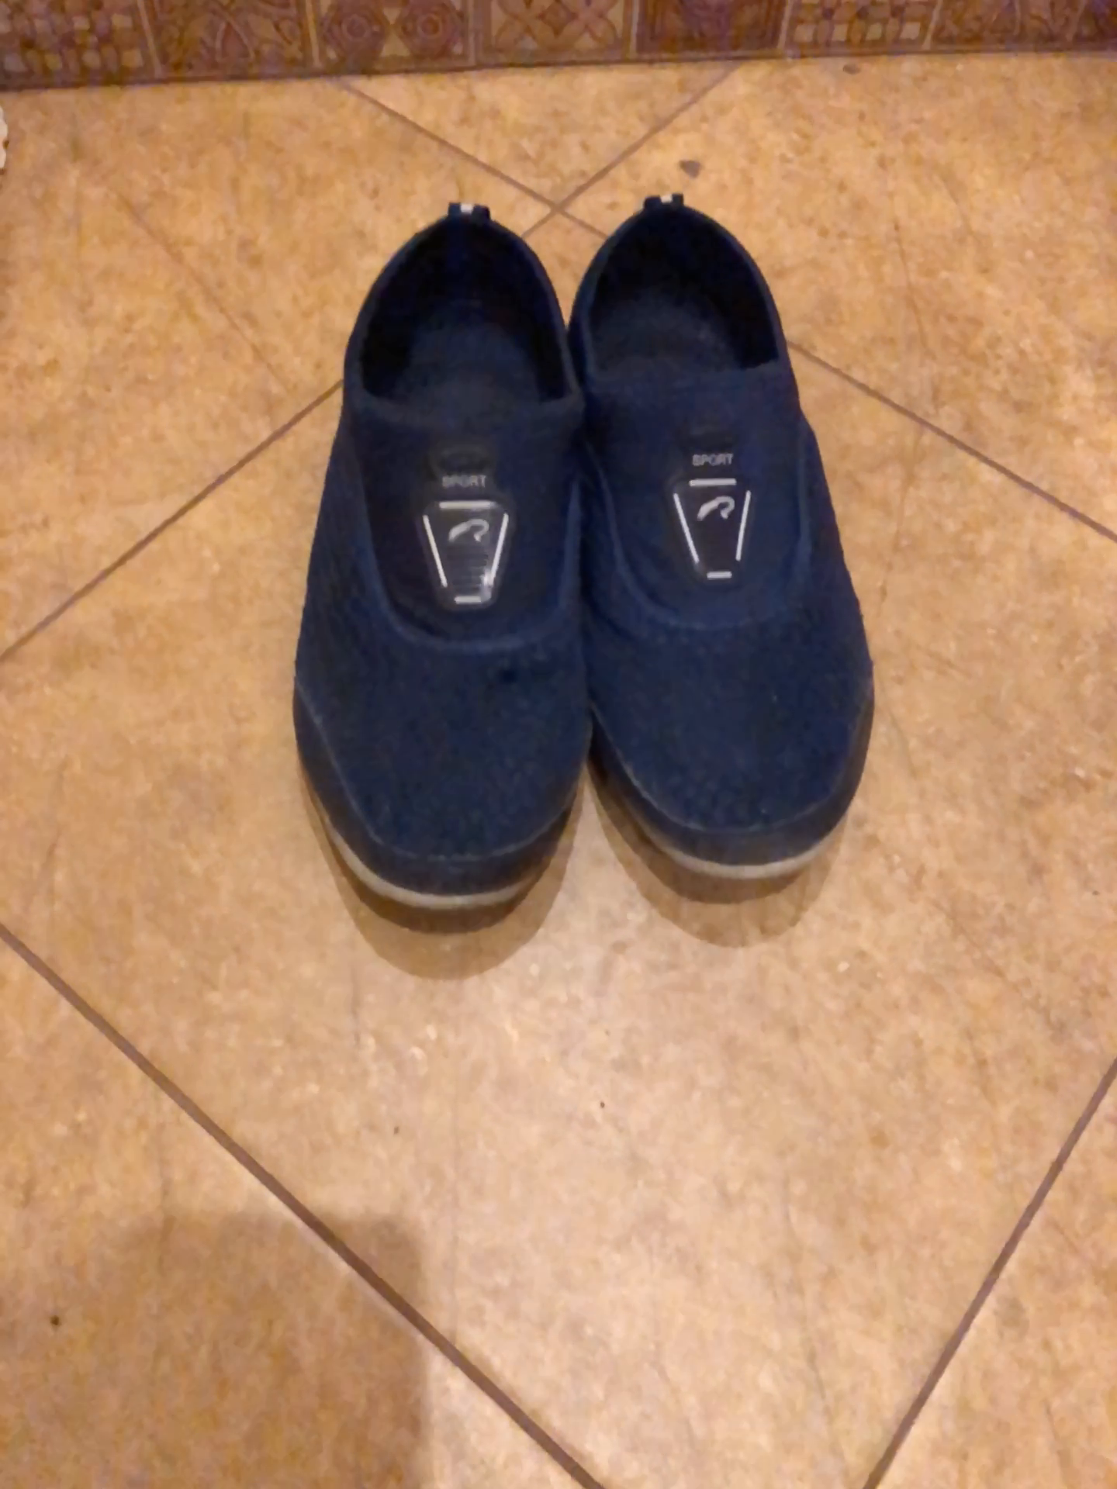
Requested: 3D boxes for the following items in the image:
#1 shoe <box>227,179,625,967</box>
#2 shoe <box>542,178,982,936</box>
[{"bbox_3d":[-0.041,-0.073,0.440,0.110,0.070,0.291,0,63,-3],"label":"shoe"},{"bbox_3d":[0.059,-0.082,0.461,0.110,0.070,0.291,-3,63,-4],"label":"shoe"}]
